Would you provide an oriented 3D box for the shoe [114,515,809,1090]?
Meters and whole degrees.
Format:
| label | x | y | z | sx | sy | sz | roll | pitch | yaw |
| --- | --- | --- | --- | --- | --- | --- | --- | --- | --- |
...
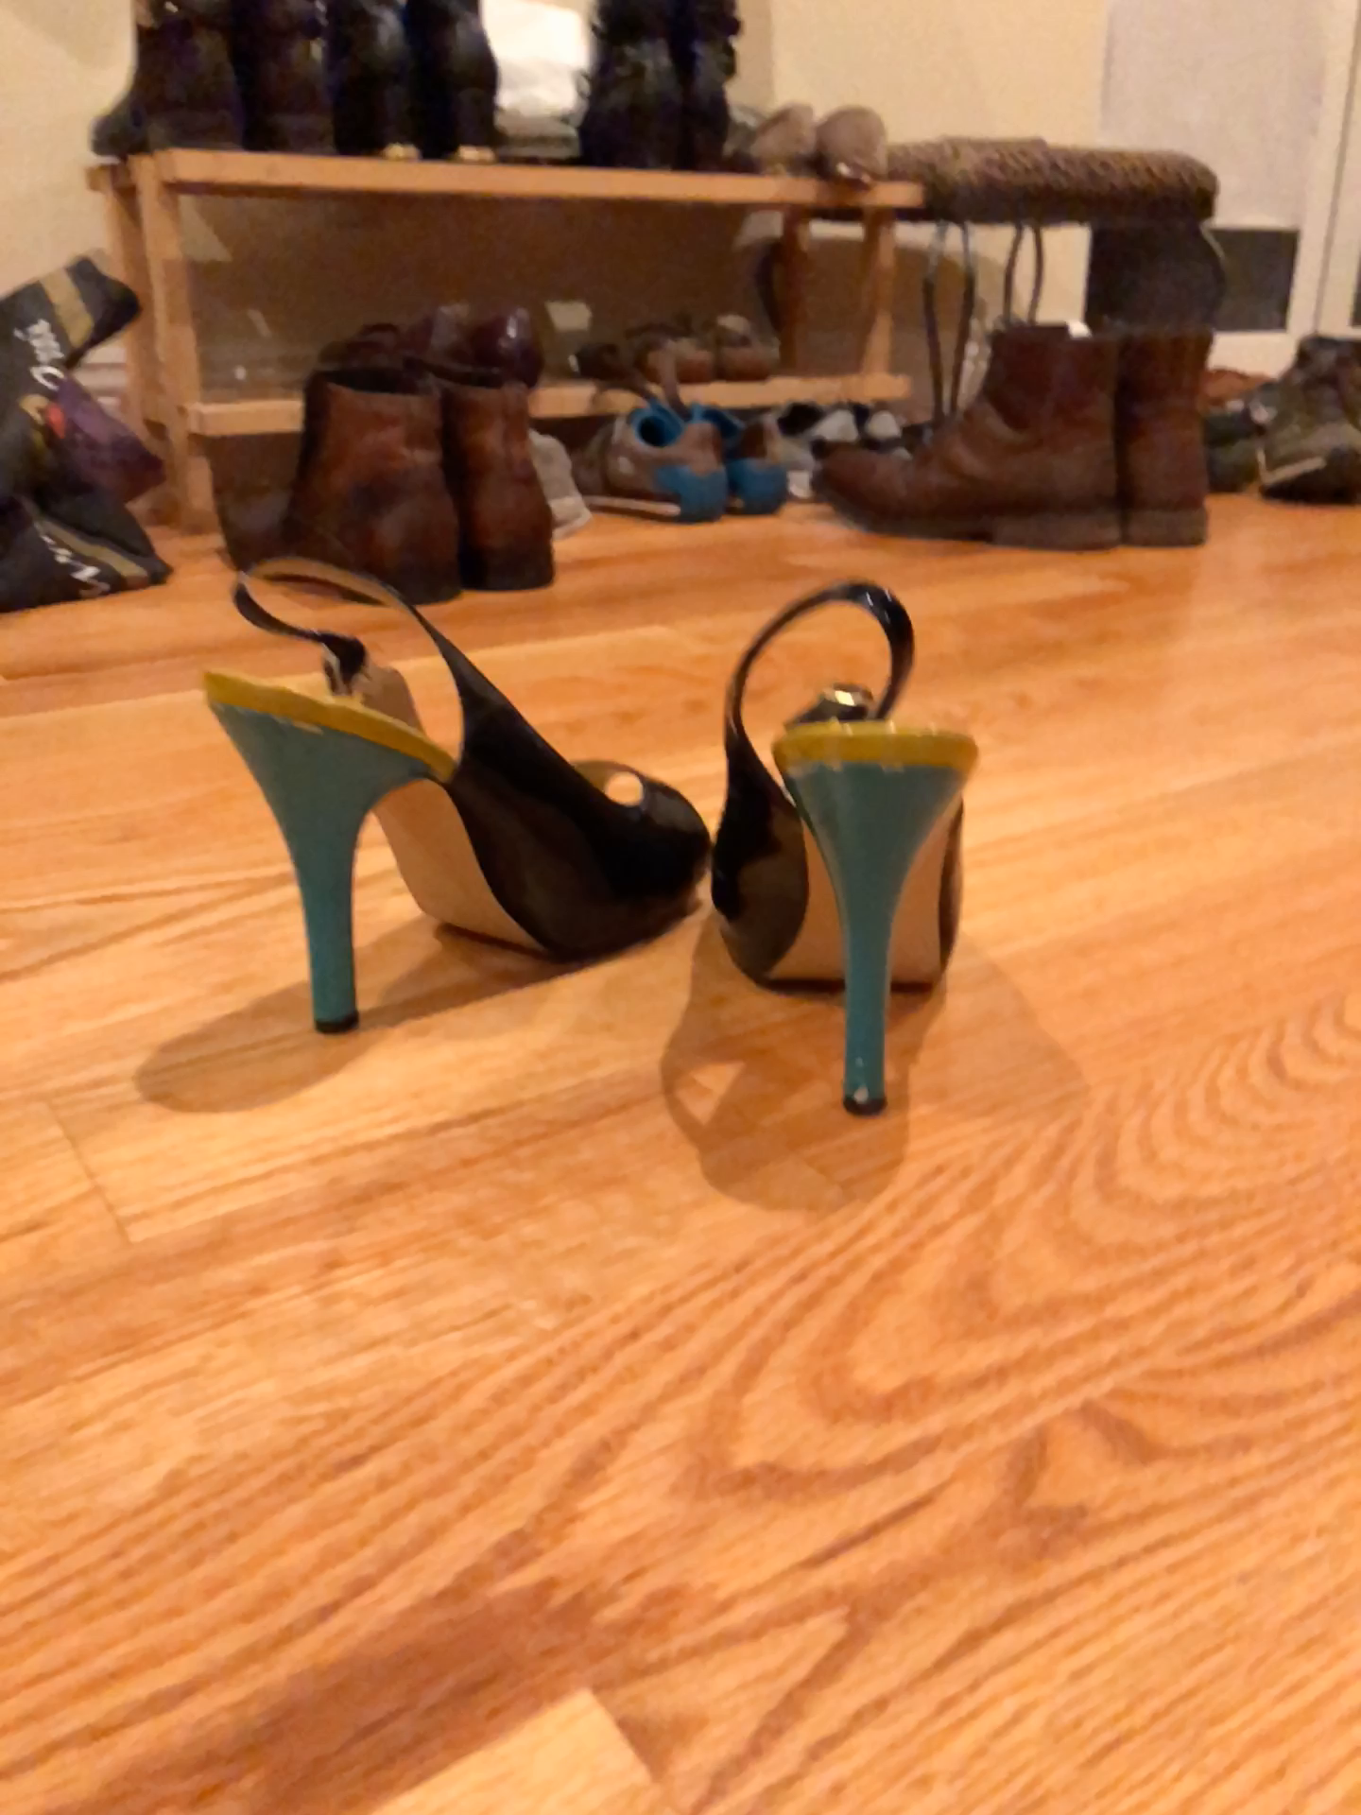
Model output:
| label | x | y | z | sx | sy | sz | roll | pitch | yaw |
| --- | --- | --- | --- | --- | --- | --- | --- | --- | --- |
| shoe | -0.056 | -0.048 | 0.479 | 0.085 | 0.121 | 0.205 | 18 | 29 | 37 |

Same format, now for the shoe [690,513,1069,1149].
| label | x | y | z | sx | sy | sz | roll | pitch | yaw |
| --- | --- | --- | --- | --- | --- | --- | --- | --- | --- |
| shoe | 0.047 | -0.038 | 0.455 | 0.085 | 0.131 | 0.202 | 0 | 23 | 1 |
